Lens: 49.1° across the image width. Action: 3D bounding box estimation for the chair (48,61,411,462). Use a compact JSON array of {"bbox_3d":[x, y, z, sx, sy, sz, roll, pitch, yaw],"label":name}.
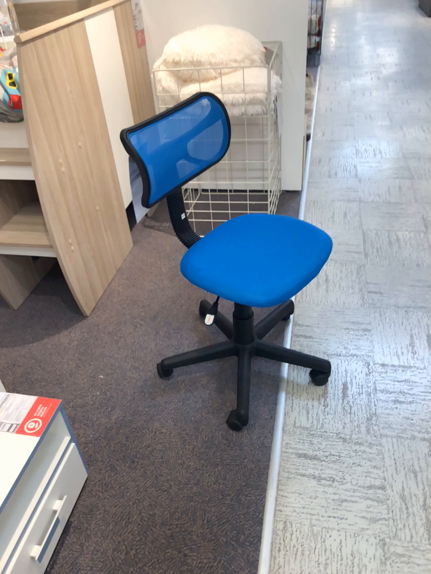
[{"bbox_3d":[0.100,-0.124,1.333,0.610,0.795,0.664,15,41,25],"label":"chair"}]
